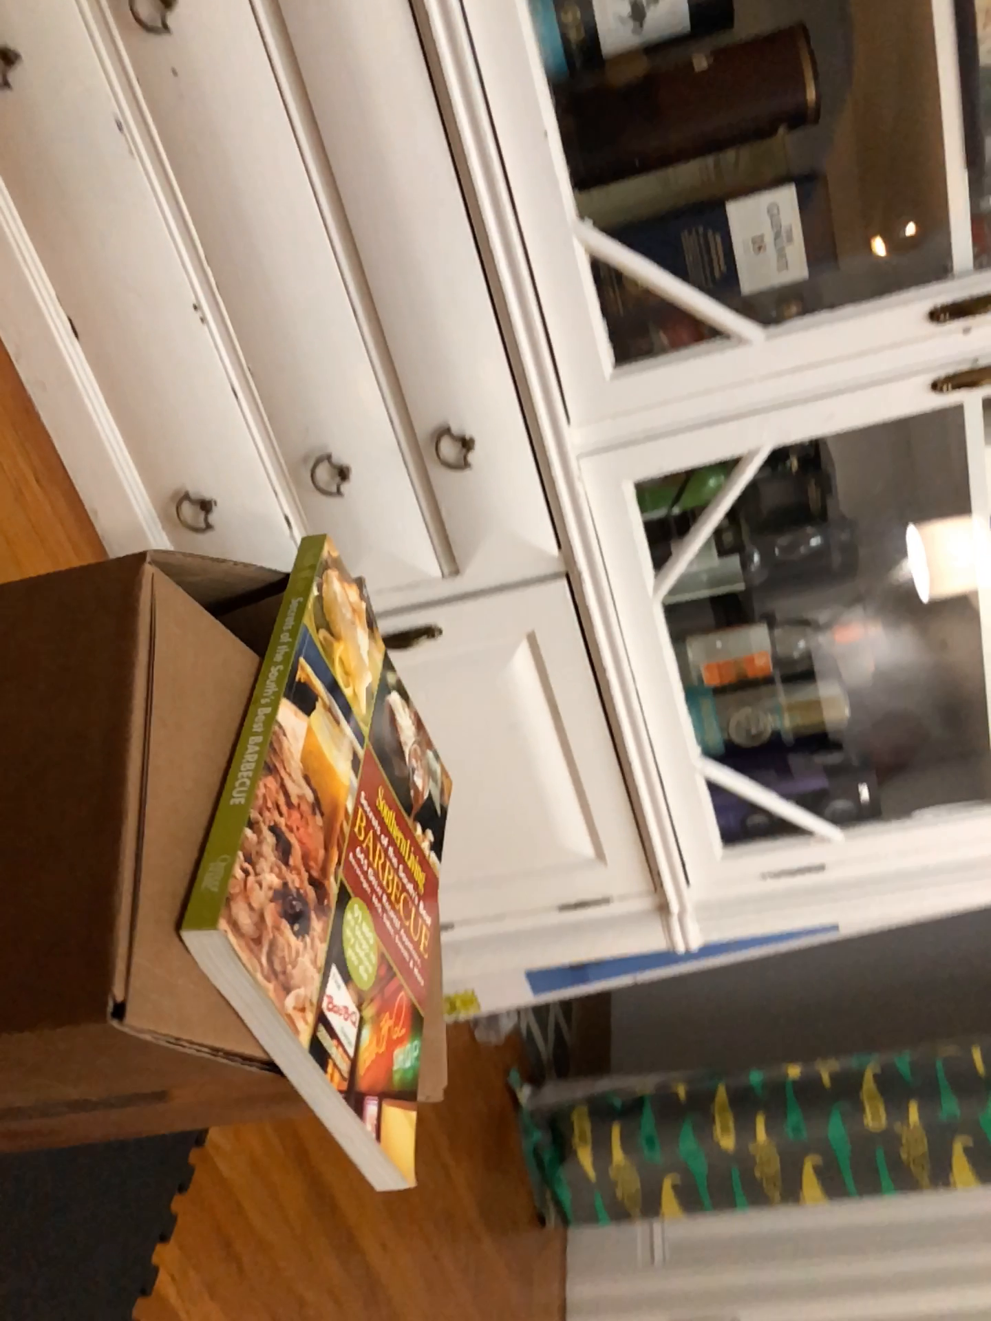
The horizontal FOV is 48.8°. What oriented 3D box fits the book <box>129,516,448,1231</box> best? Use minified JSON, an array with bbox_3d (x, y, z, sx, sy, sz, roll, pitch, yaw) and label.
[{"bbox_3d":[-0.081,0.095,0.564,0.291,0.020,0.220,-85,159,-51],"label":"book"}]
